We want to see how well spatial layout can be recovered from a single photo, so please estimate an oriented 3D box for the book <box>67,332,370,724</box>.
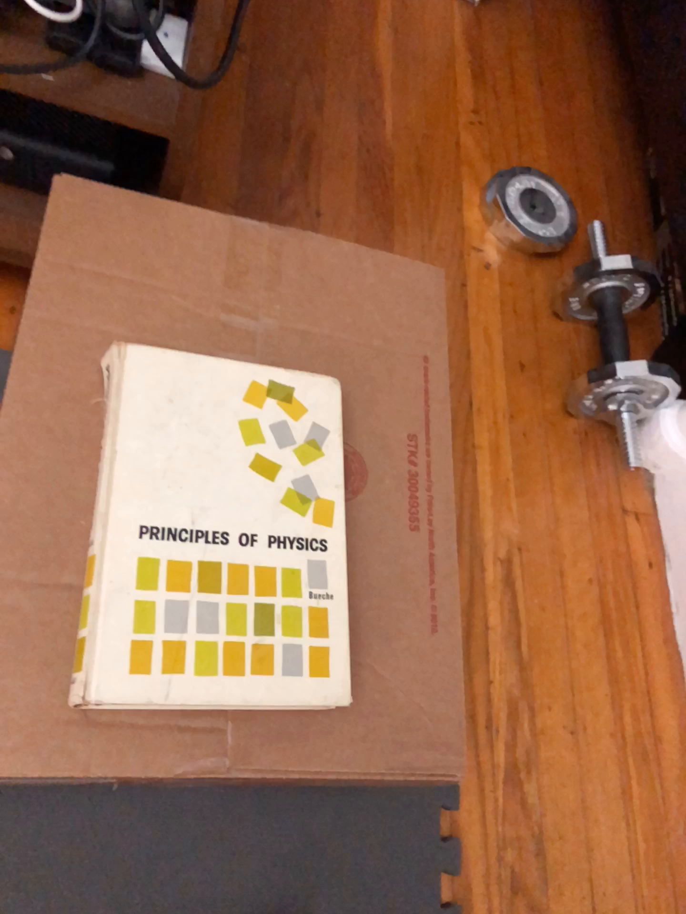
[{"bbox_3d":[-0.076,0.047,0.518,0.180,0.040,0.251,8,65,-19],"label":"book"}]
